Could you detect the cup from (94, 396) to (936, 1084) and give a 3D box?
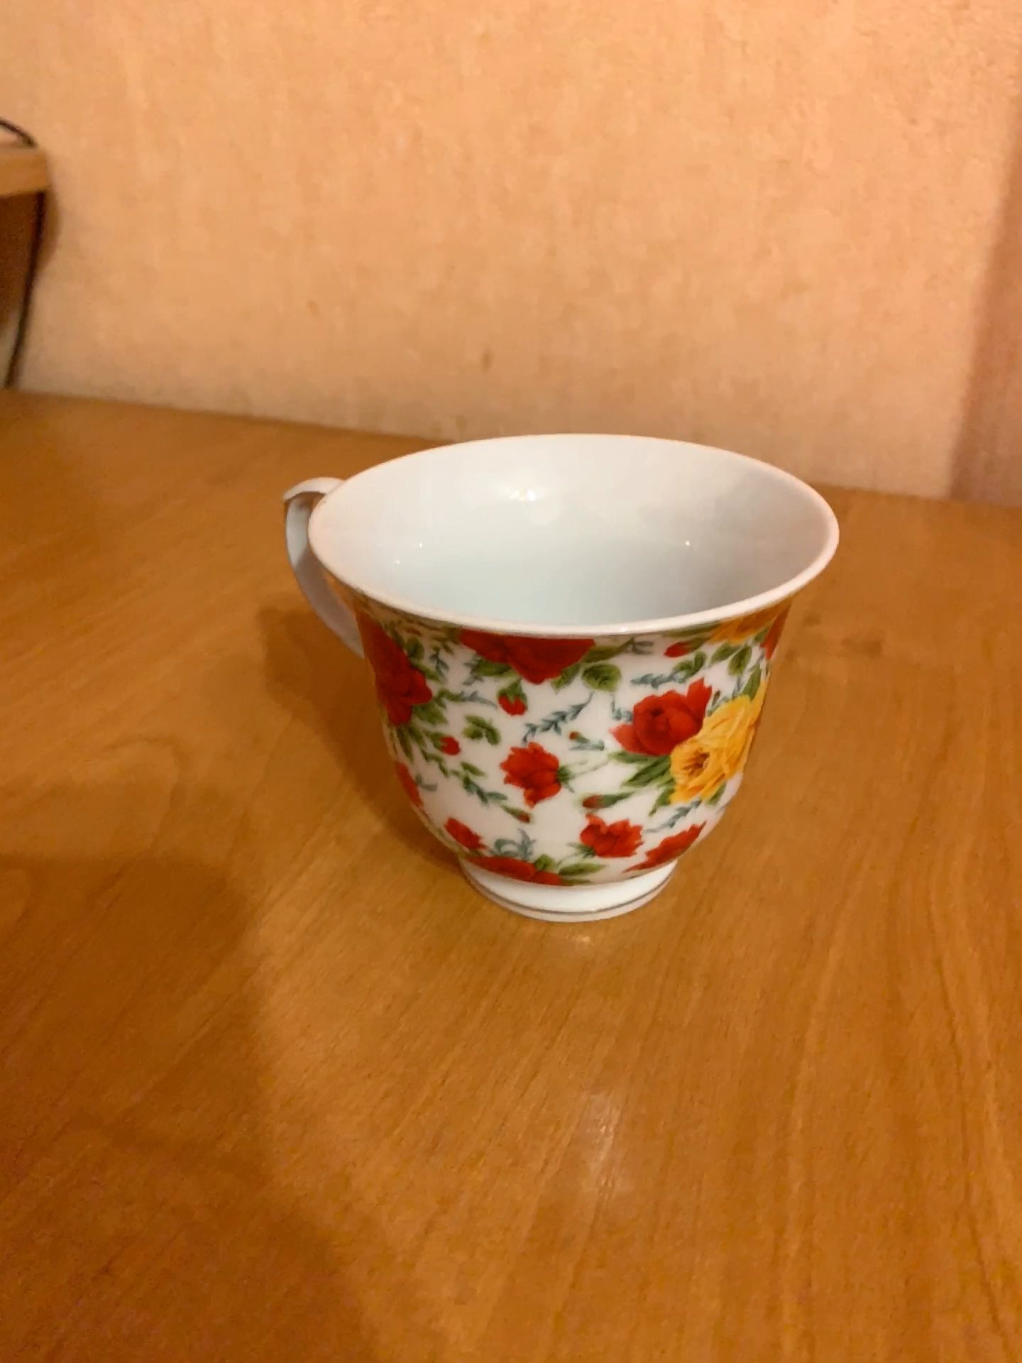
[{"bbox_3d":[0.004,-0.004,0.213,0.120,0.067,0.100,17,34,29],"label":"cup"}]
